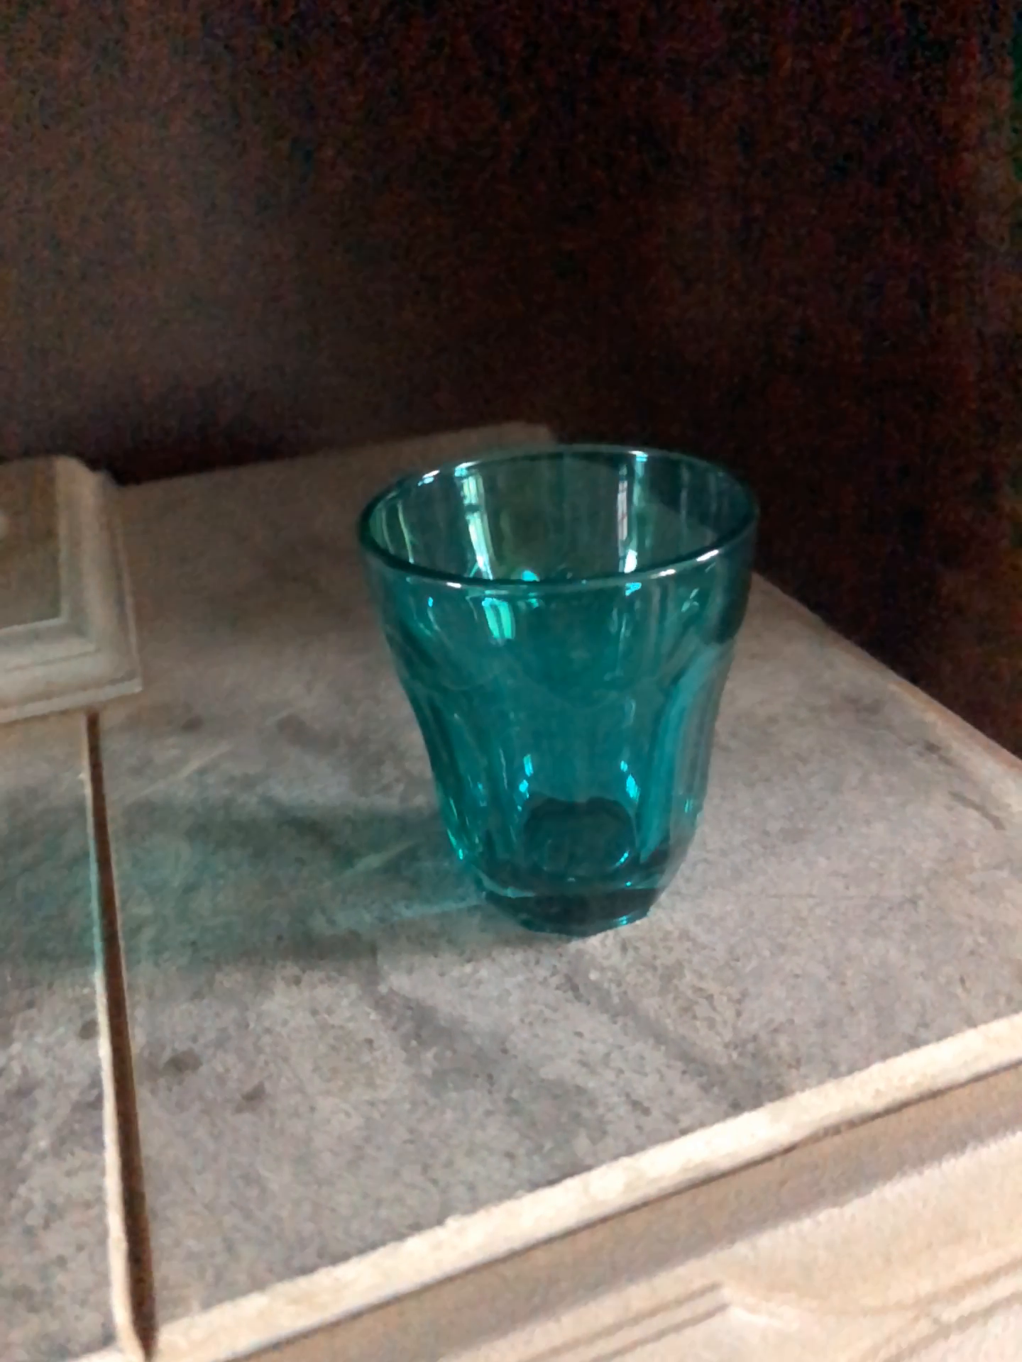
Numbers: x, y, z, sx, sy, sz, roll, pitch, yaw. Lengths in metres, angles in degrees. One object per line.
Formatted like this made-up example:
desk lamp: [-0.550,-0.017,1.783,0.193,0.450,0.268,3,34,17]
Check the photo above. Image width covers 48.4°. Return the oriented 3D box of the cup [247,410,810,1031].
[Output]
cup: [0.007,0.001,0.217,0.070,0.080,0.070,-4,29,2]
